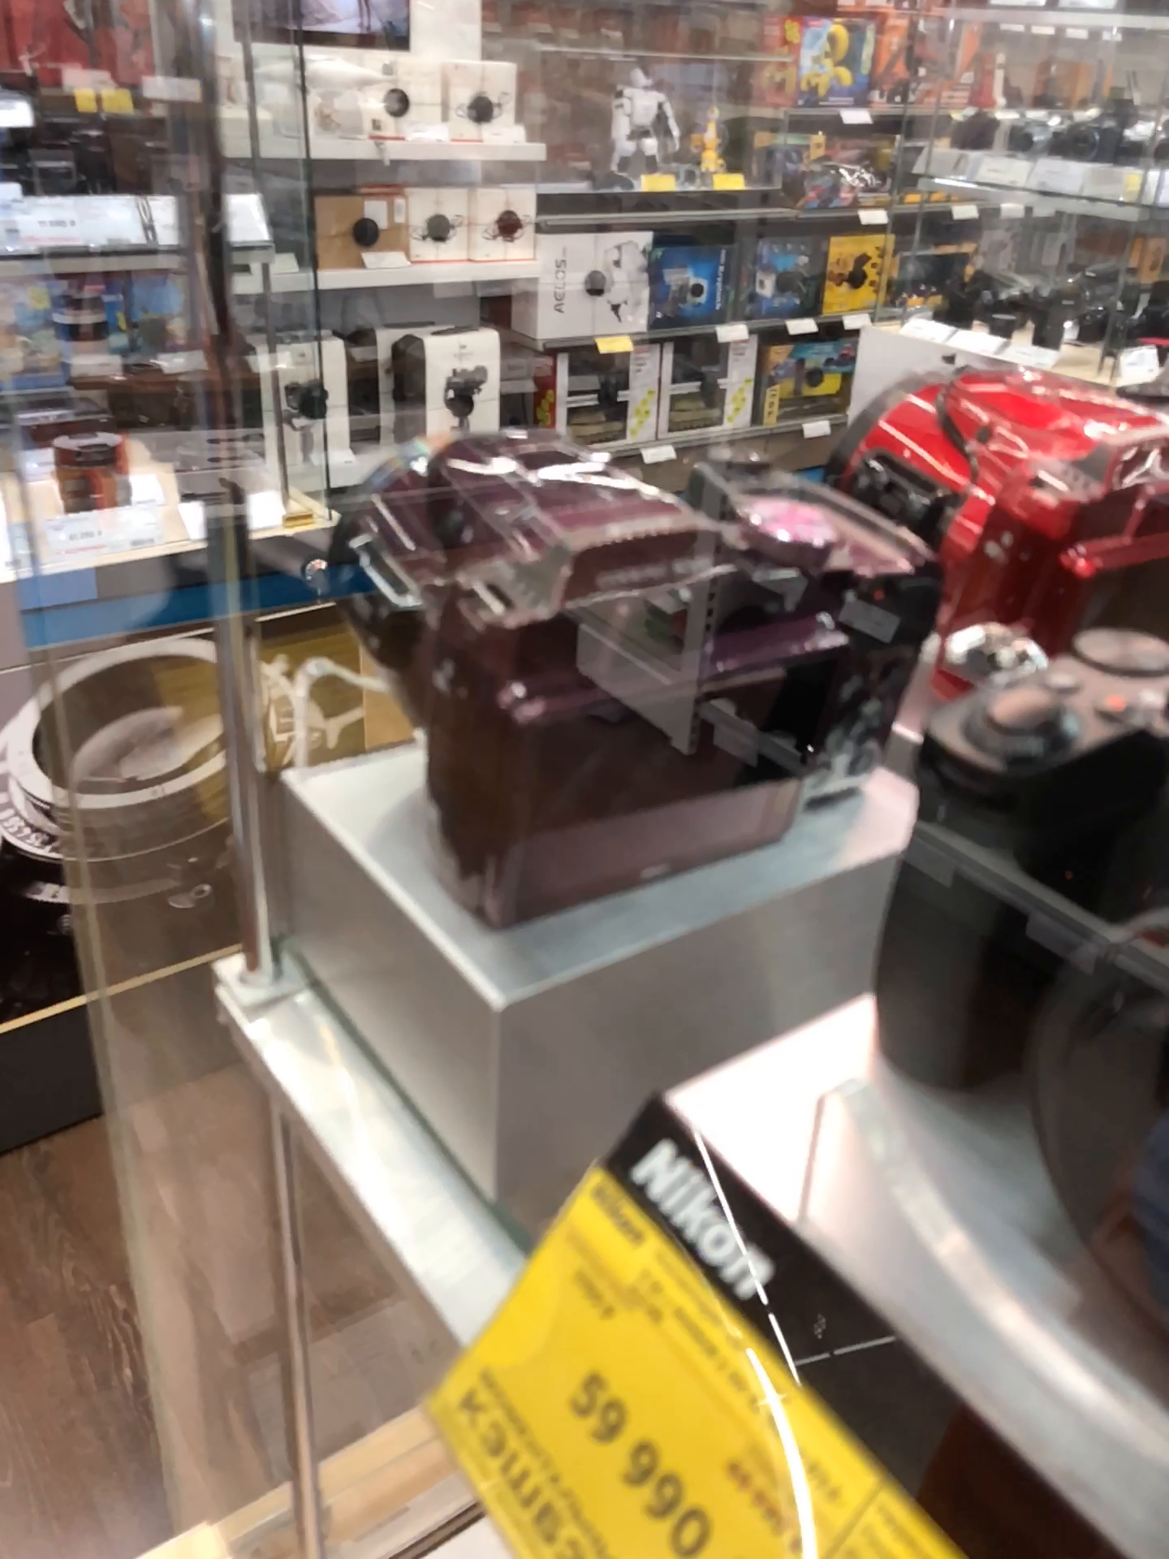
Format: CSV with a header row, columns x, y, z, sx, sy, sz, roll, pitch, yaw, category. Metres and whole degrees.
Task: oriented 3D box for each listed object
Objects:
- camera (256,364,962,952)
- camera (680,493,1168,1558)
x,y,z,sx,sy,sz,roll,pitch,yaw,category
0.001,-0.037,0.282,0.109,0.080,0.100,-15,34,-28,camera
0.095,0.026,0.175,0.100,0.084,0.134,-15,34,-28,camera
